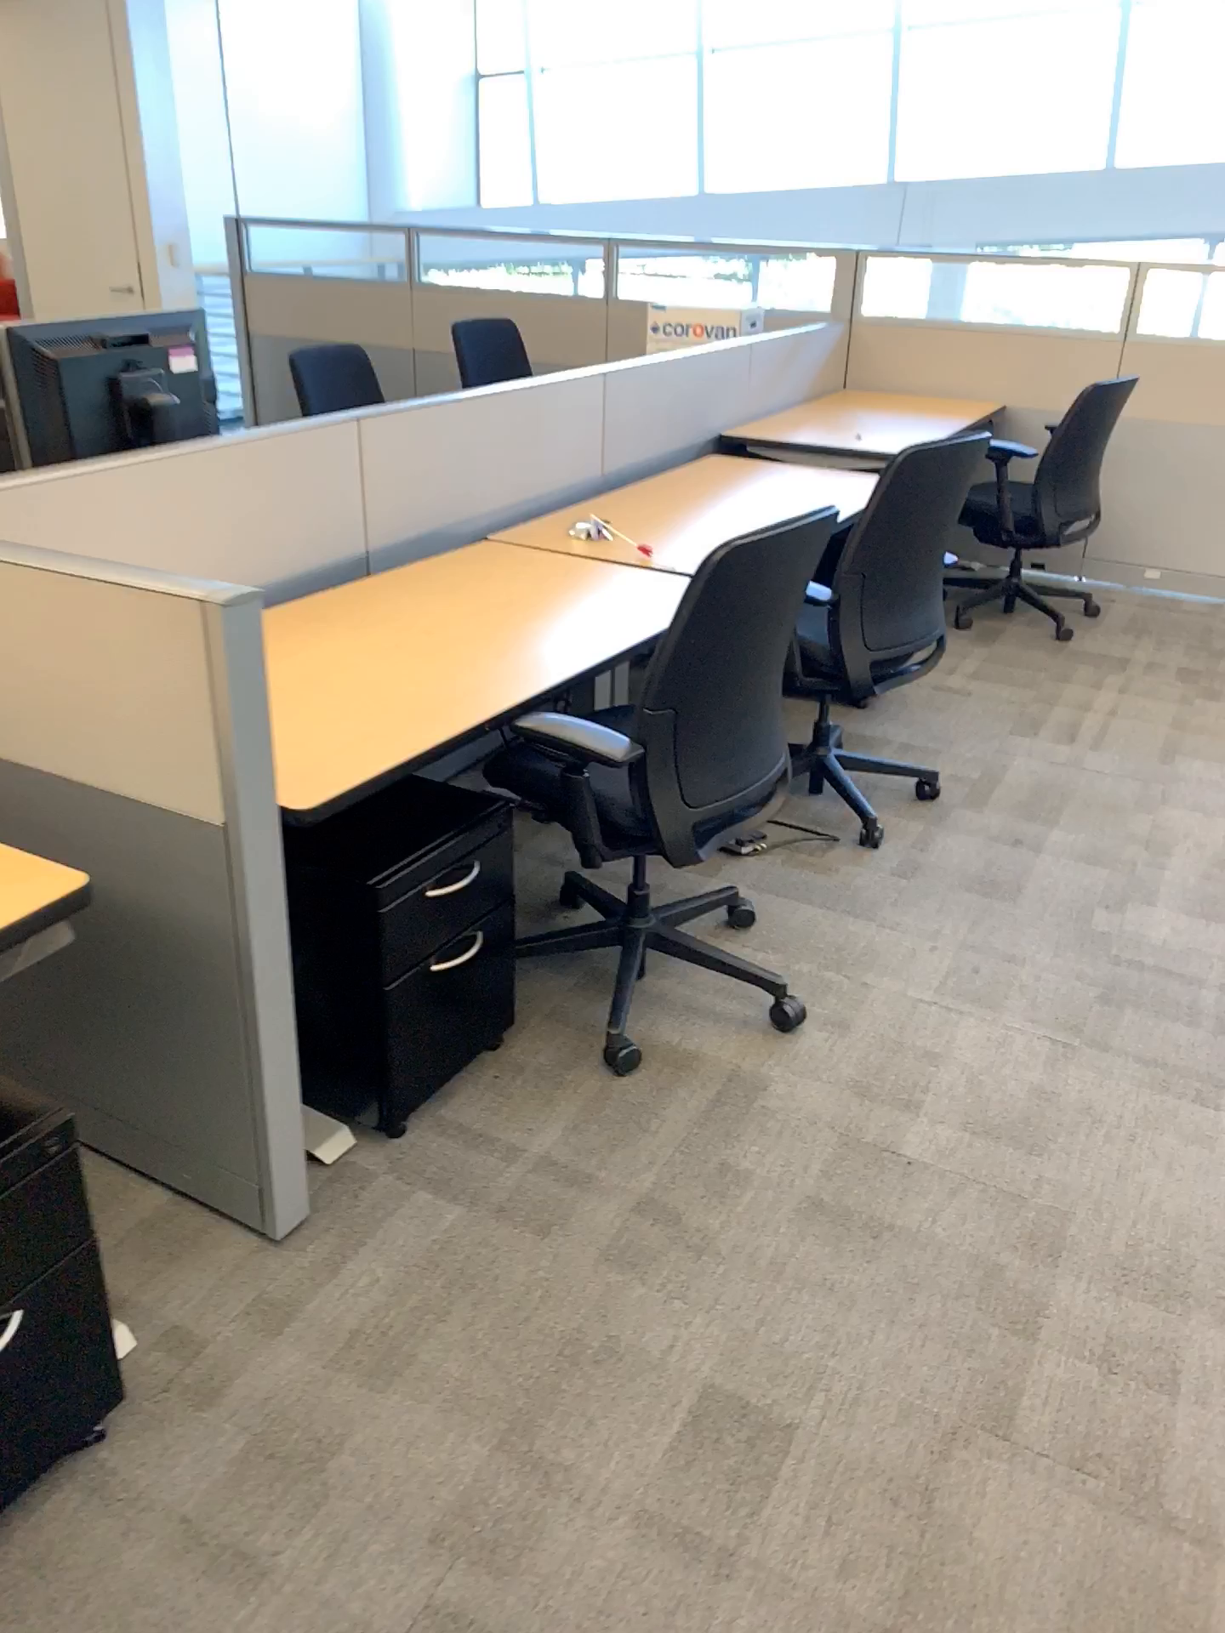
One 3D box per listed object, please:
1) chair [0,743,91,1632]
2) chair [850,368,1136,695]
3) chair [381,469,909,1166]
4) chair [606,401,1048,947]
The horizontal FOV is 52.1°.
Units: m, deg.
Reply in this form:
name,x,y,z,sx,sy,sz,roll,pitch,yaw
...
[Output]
name,x,y,z,sx,sy,sz,roll,pitch,yaw
chair,-0.879,0.645,0.844,0.680,1.084,0.754,-15,30,-30
chair,1.683,-1.318,5.660,0.751,1.233,0.764,-17,31,-34
chair,0.062,-0.060,2.763,0.763,1.183,0.752,20,31,33
chair,0.526,-0.435,3.395,0.751,1.183,0.764,-17,31,-34
